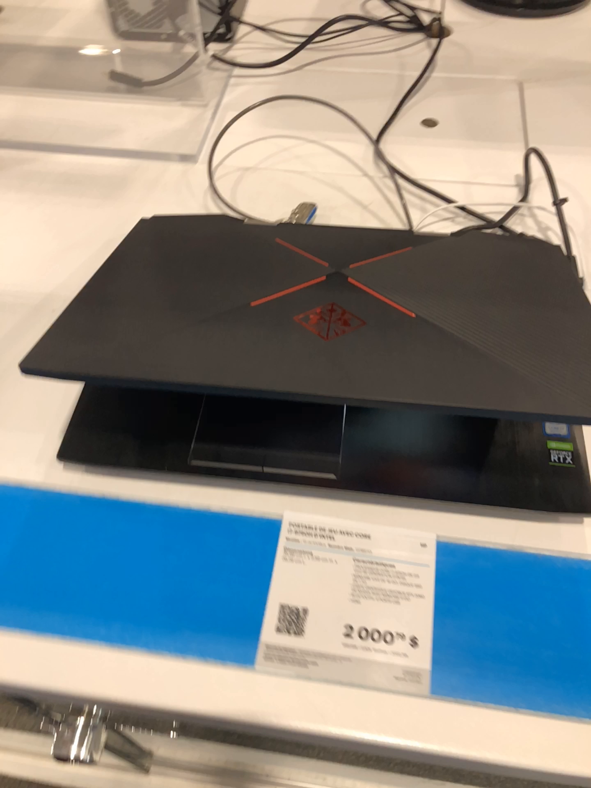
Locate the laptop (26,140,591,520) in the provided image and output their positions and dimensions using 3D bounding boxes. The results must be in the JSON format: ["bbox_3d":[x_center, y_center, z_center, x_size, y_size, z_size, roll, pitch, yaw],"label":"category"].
[{"bbox_3d":[0.032,-0.060,0.456,0.346,0.085,0.235,6,55,6],"label":"laptop"}]
